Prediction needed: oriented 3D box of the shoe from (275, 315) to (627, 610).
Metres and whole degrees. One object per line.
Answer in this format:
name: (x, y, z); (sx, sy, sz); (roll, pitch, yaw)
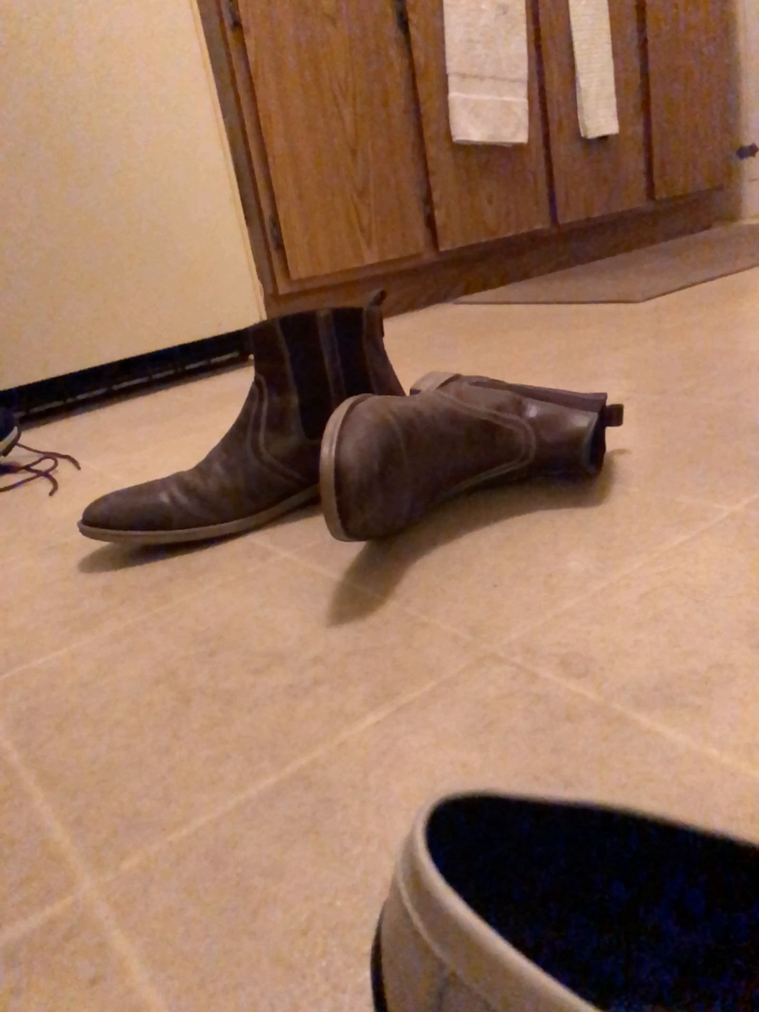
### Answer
shoe: (0.078, -0.052, 0.623); (0.161, 0.111, 0.314); (1, 22, 24)

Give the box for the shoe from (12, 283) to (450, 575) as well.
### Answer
shoe: (-0.117, -0.076, 0.707); (0.313, 0.160, 0.112); (-15, 20, -12)
